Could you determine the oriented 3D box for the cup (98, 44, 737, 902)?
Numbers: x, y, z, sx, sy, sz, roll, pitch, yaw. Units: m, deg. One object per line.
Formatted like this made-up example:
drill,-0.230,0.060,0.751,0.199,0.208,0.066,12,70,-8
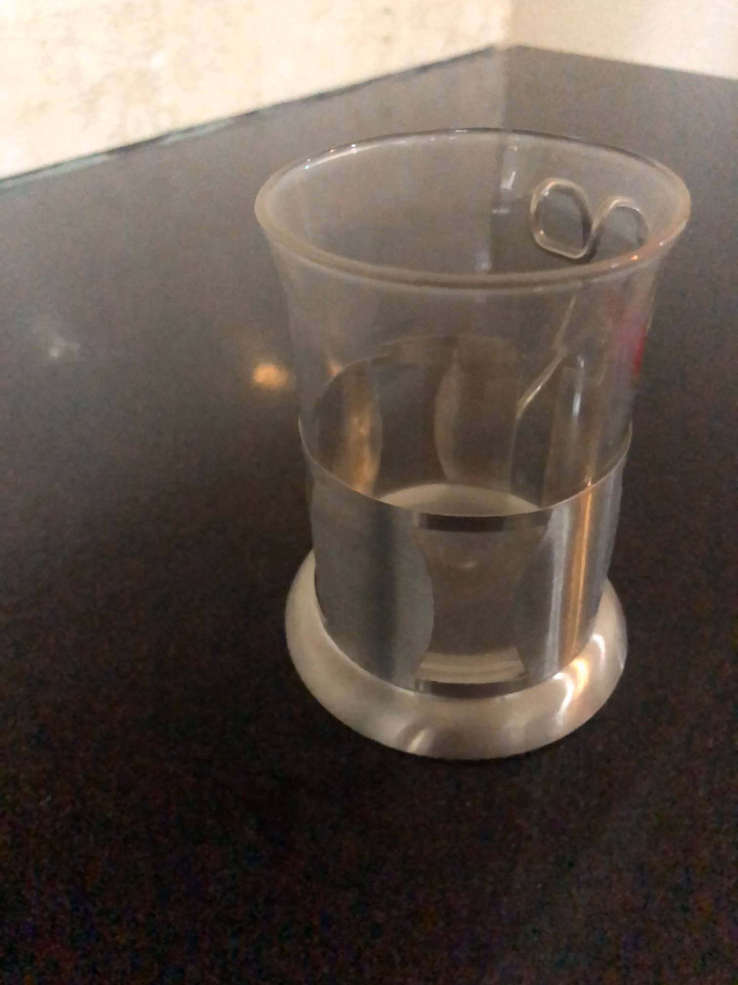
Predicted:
cup,0.028,-0.014,0.165,0.080,0.109,0.110,29,48,34
